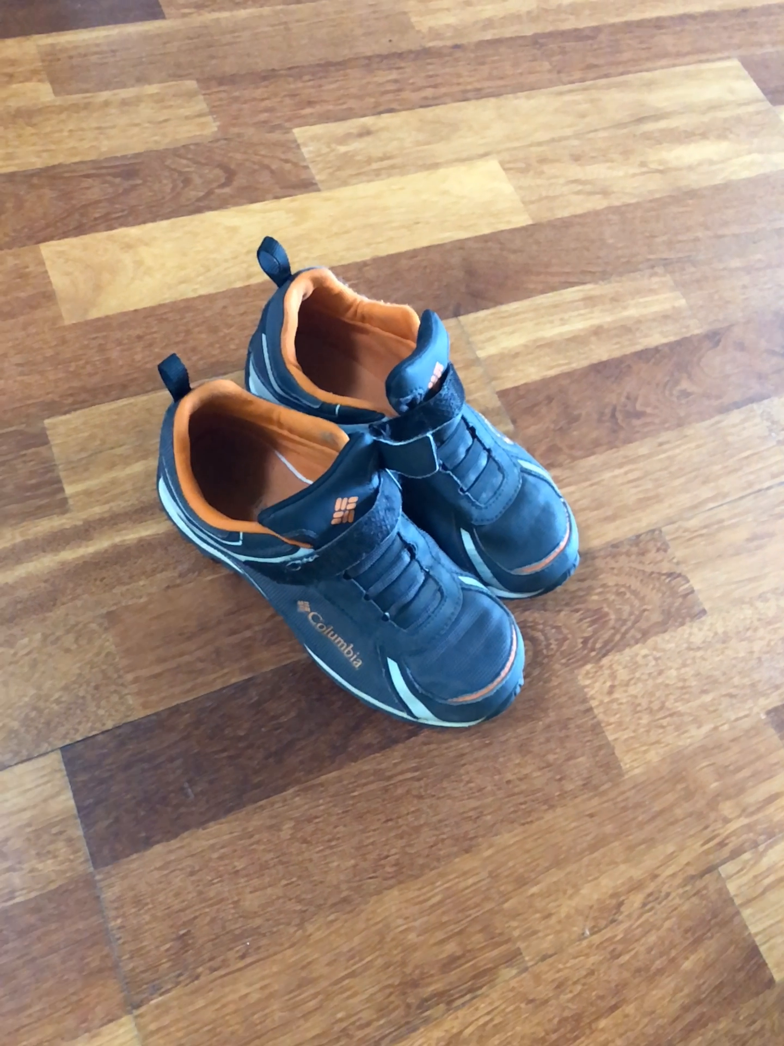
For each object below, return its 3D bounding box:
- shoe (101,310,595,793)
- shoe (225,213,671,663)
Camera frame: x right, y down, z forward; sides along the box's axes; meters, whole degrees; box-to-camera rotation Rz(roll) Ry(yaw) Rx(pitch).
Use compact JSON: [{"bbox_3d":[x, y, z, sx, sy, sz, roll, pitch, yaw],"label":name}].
[{"bbox_3d":[-0.031,0.017,0.475,0.247,0.102,0.097,42,65,9],"label":"shoe"},{"bbox_3d":[0.023,-0.051,0.558,0.252,0.127,0.112,42,65,9],"label":"shoe"}]
